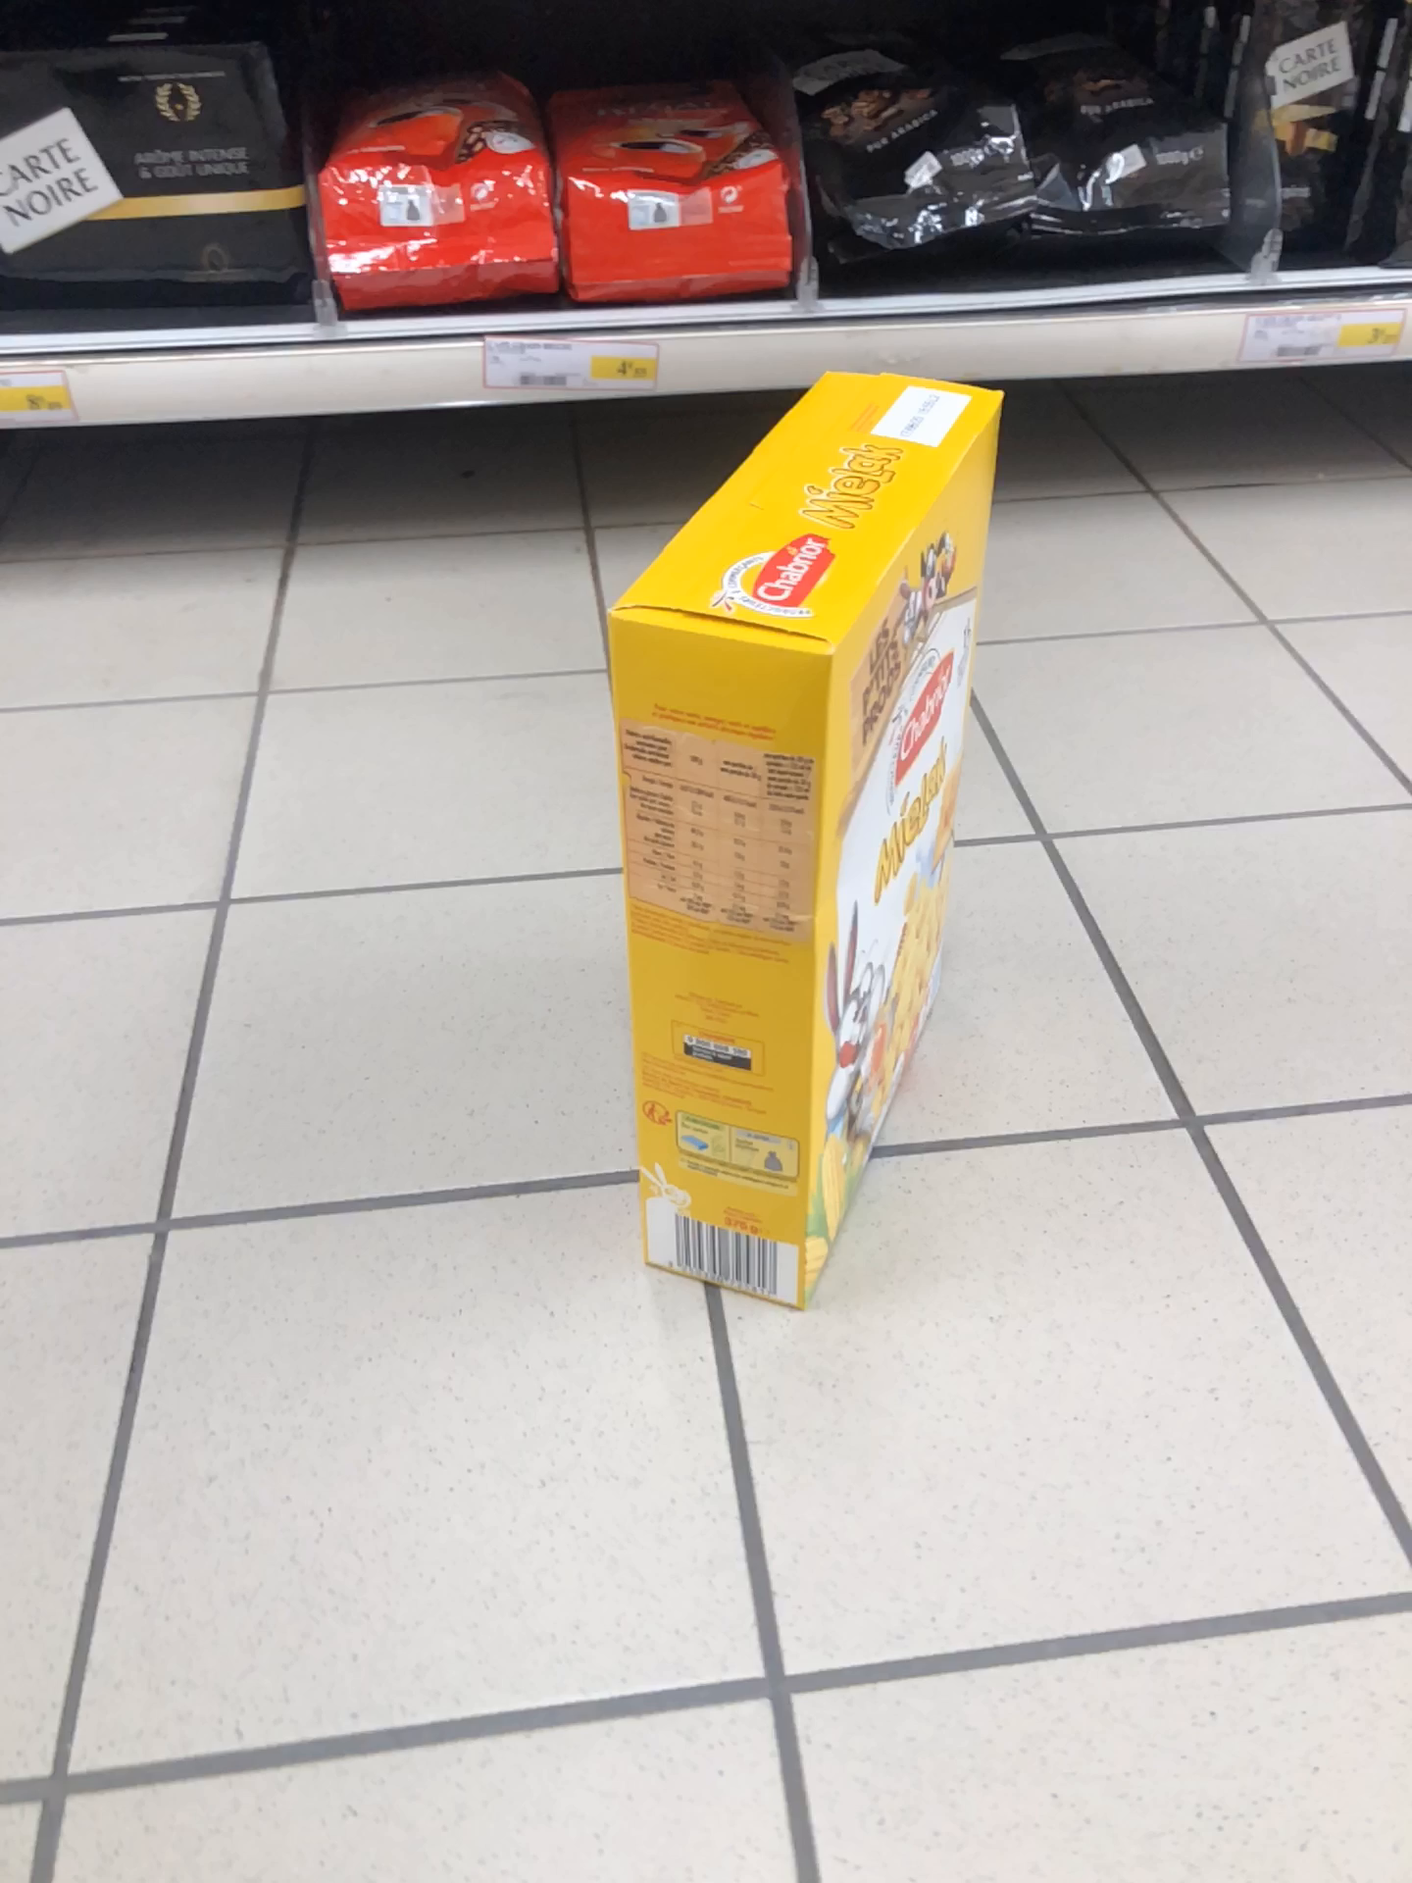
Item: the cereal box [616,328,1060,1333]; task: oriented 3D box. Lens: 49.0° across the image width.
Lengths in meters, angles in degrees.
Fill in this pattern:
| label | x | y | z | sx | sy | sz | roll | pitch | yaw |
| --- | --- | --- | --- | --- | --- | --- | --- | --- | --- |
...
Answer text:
| label | x | y | z | sx | sy | sz | roll | pitch | yaw |
| --- | --- | --- | --- | --- | --- | --- | --- | --- | --- |
| cereal box | 0.049 | -0.040 | 0.525 | 0.070 | 0.258 | 0.211 | 12 | 40 | 16 |
